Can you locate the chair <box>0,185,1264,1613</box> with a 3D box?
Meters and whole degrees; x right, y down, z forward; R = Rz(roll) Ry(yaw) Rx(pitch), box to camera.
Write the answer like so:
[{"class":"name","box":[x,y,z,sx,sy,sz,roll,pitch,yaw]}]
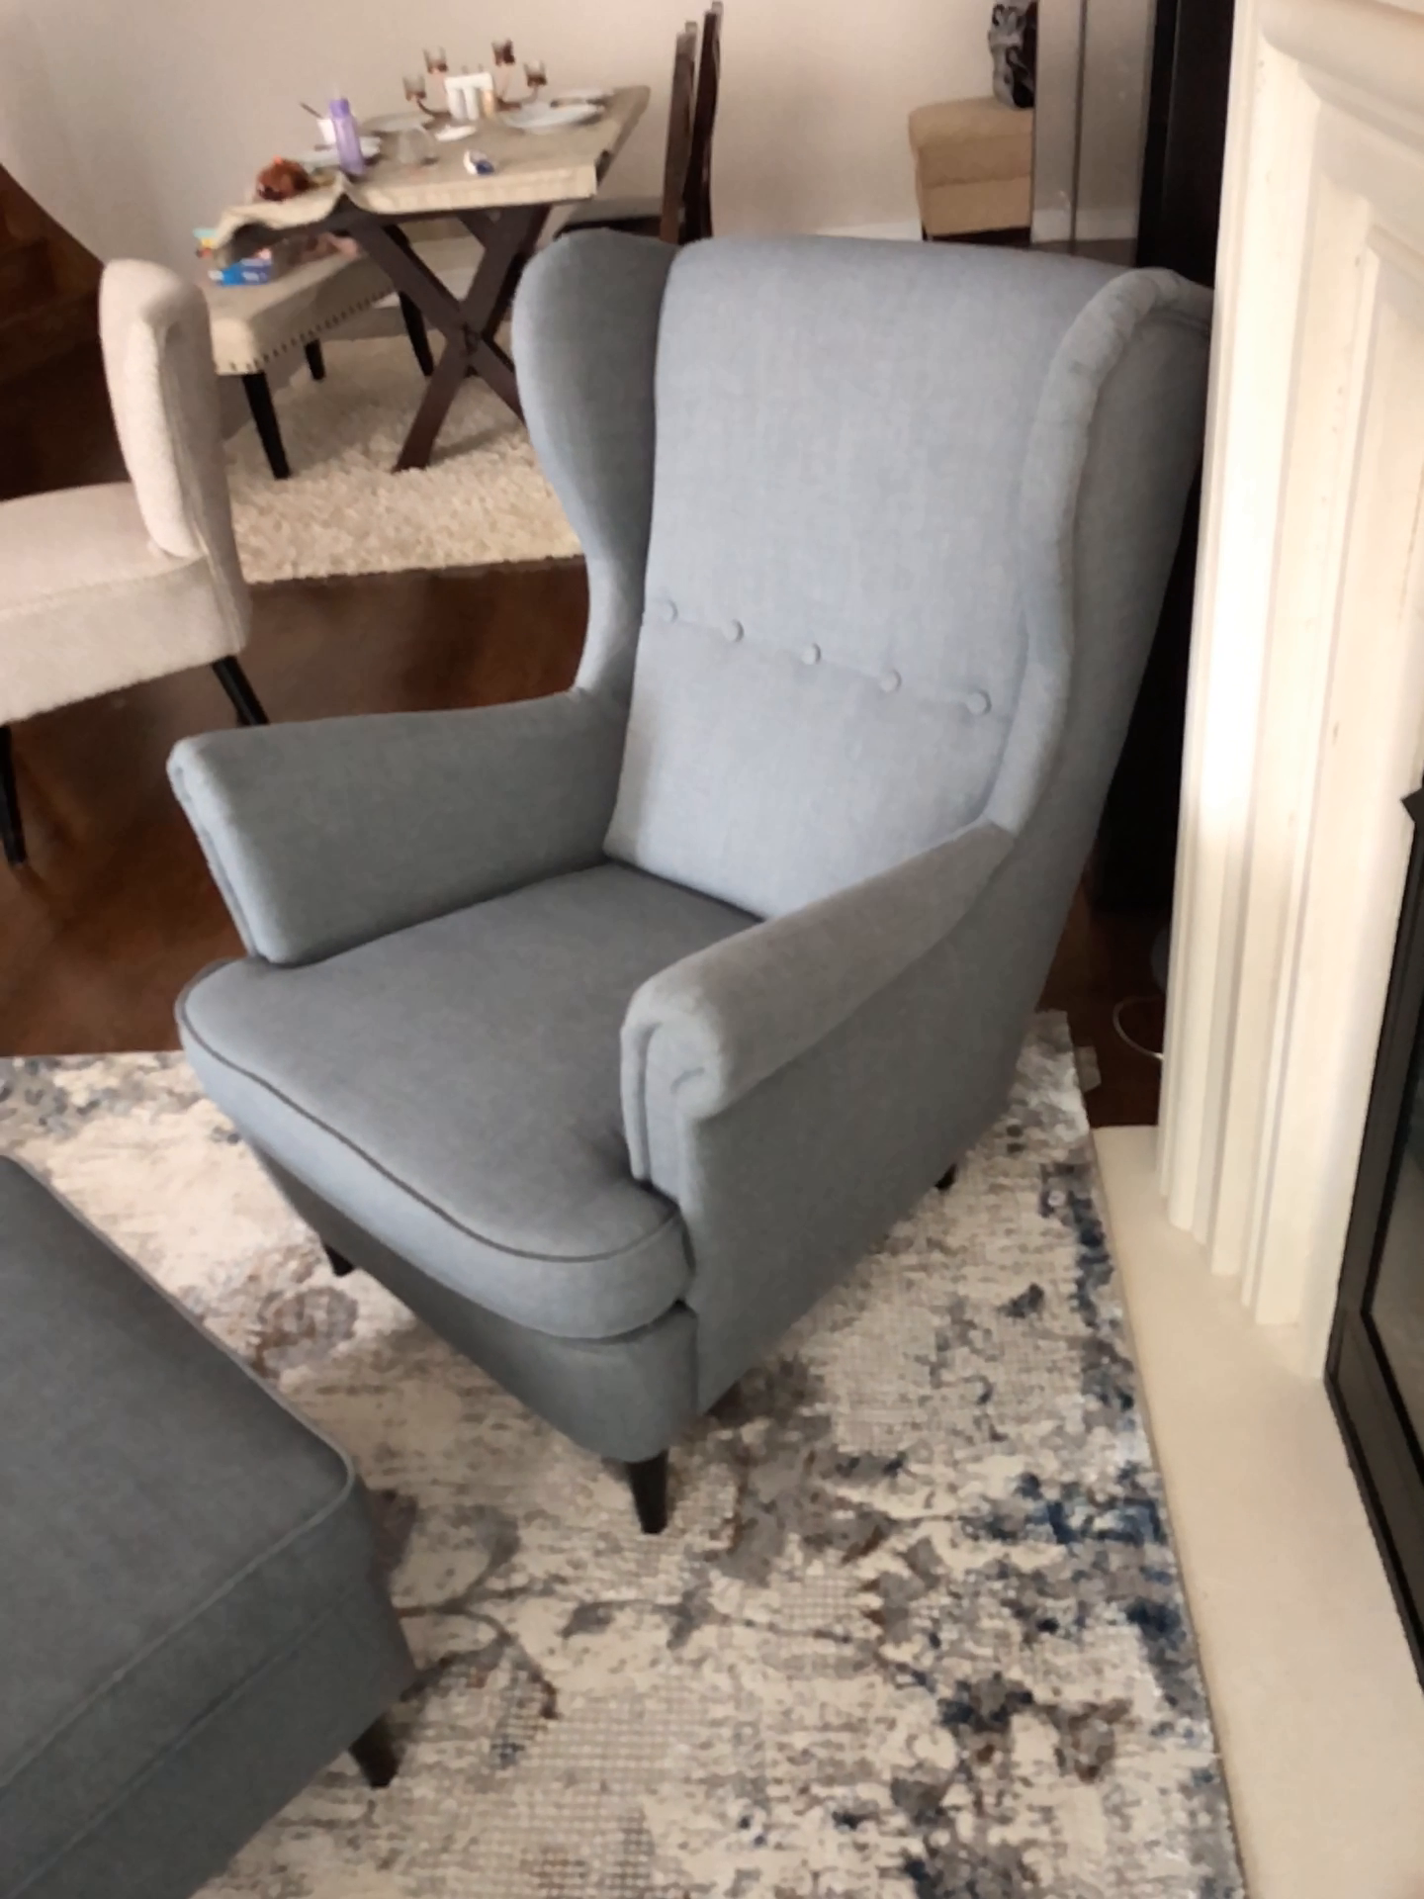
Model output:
[{"class":"chair","box":[-0.067,-0.149,1.569,0.802,0.966,0.851,24,45,38]}]
